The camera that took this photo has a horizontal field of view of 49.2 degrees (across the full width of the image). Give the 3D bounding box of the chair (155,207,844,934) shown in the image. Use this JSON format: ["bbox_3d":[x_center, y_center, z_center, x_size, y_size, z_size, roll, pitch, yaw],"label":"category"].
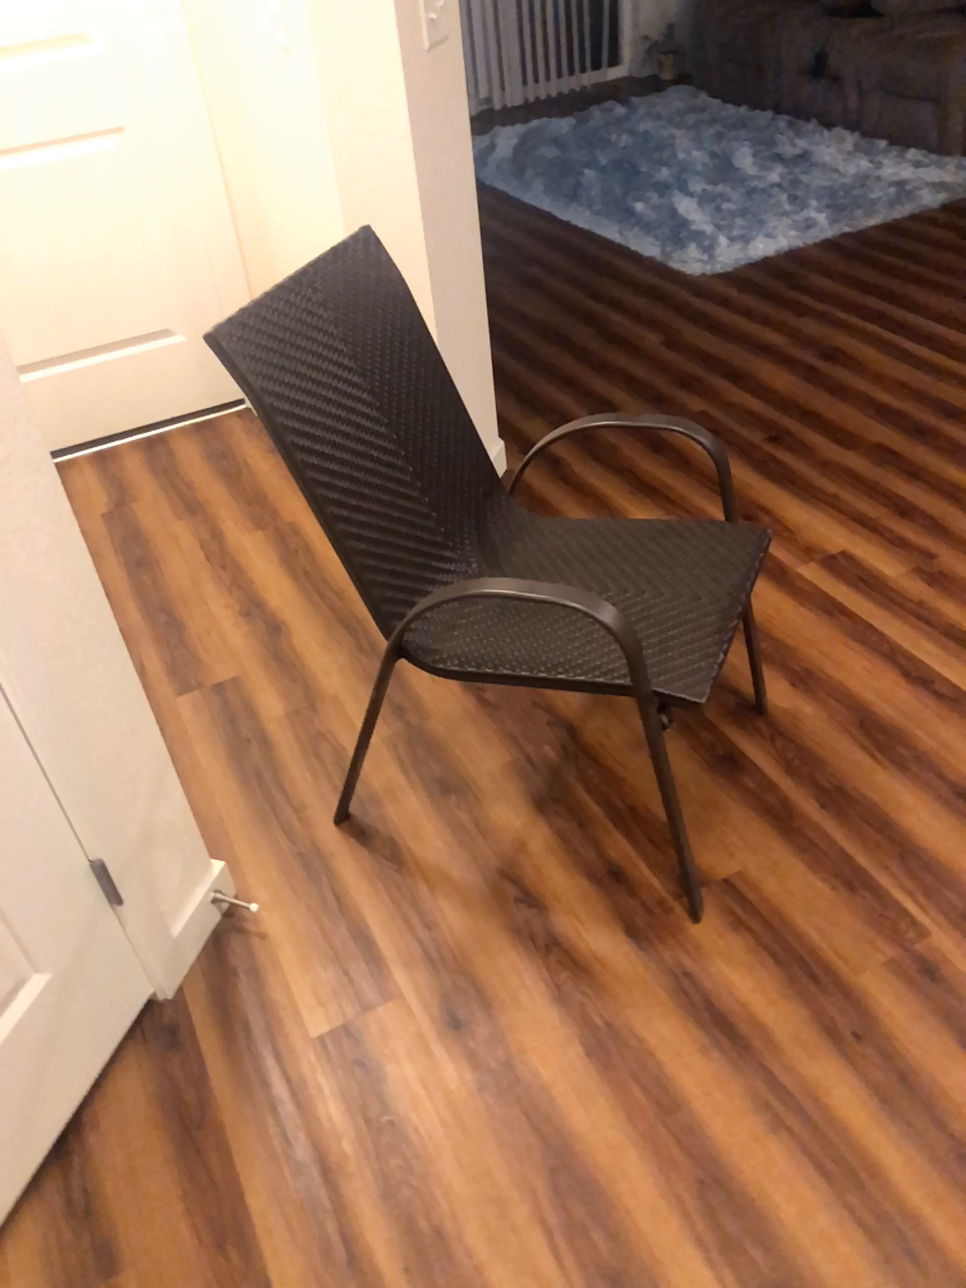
[{"bbox_3d":[0.089,-0.147,1.656,0.748,0.853,0.600,10,41,21],"label":"chair"}]
